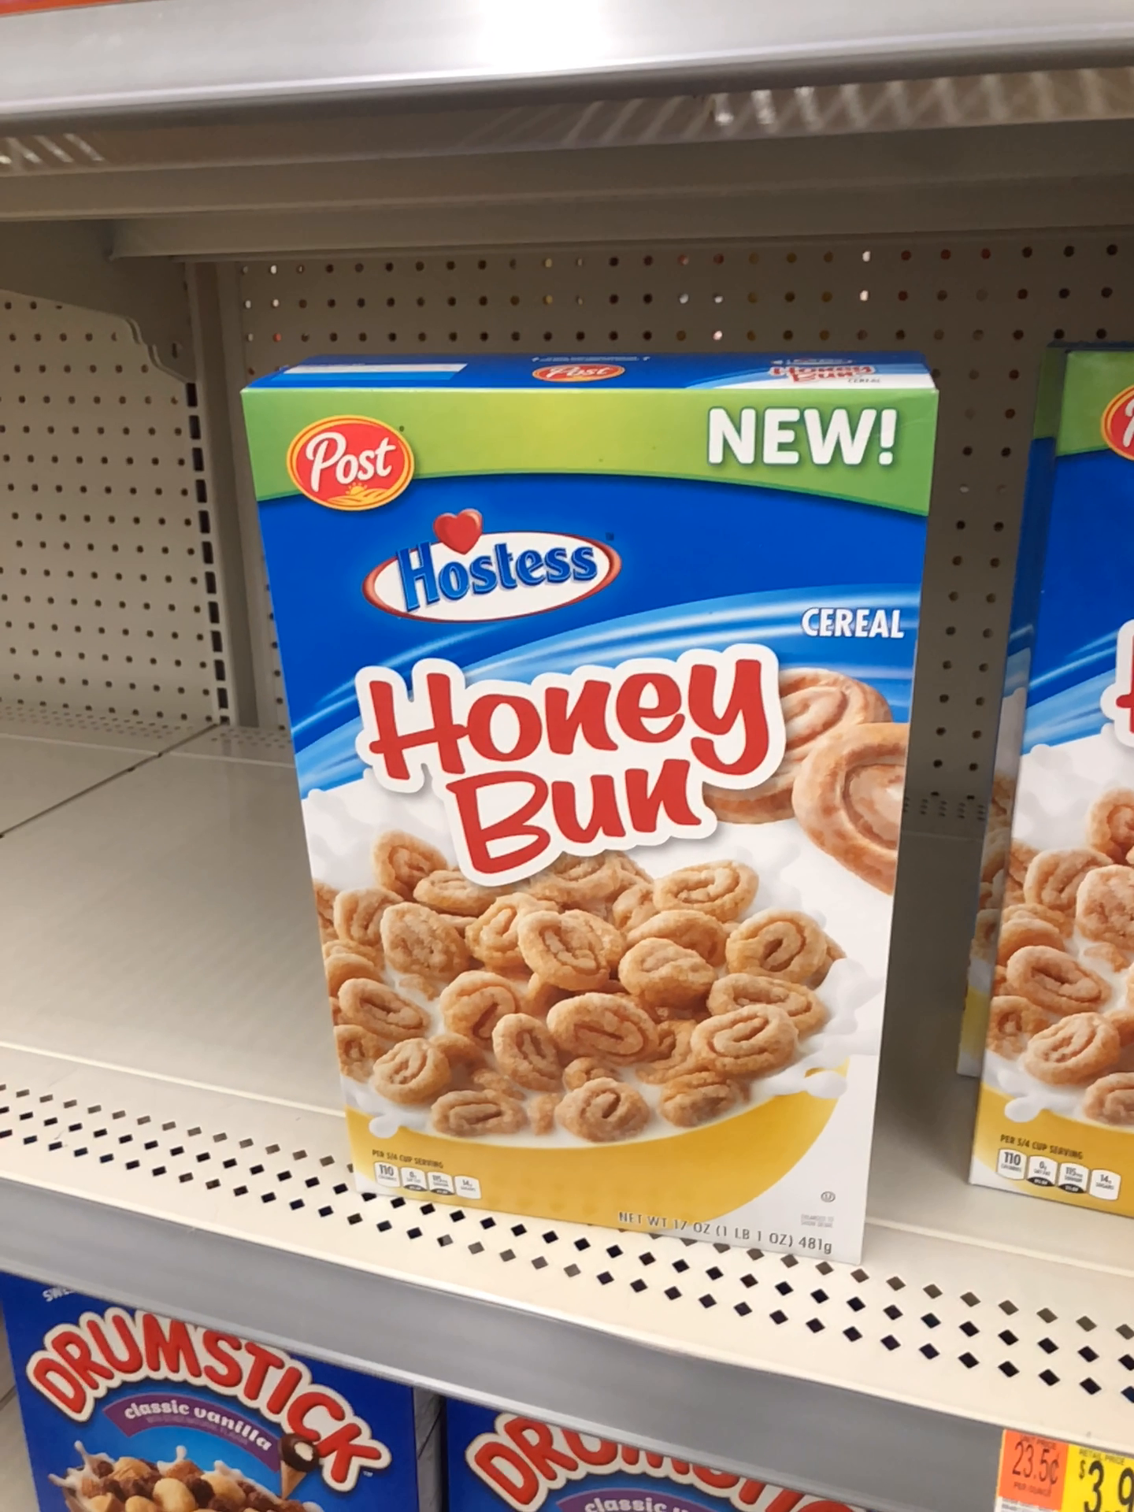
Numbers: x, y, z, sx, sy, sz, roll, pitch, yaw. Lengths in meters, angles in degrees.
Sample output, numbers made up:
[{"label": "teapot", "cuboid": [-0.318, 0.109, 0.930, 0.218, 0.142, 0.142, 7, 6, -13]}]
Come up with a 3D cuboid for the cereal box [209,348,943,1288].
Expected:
[{"label": "cereal box", "cuboid": [0.008, 0.028, 0.425, 0.200, 0.309, 0.060, 4, 26, 13]}]
